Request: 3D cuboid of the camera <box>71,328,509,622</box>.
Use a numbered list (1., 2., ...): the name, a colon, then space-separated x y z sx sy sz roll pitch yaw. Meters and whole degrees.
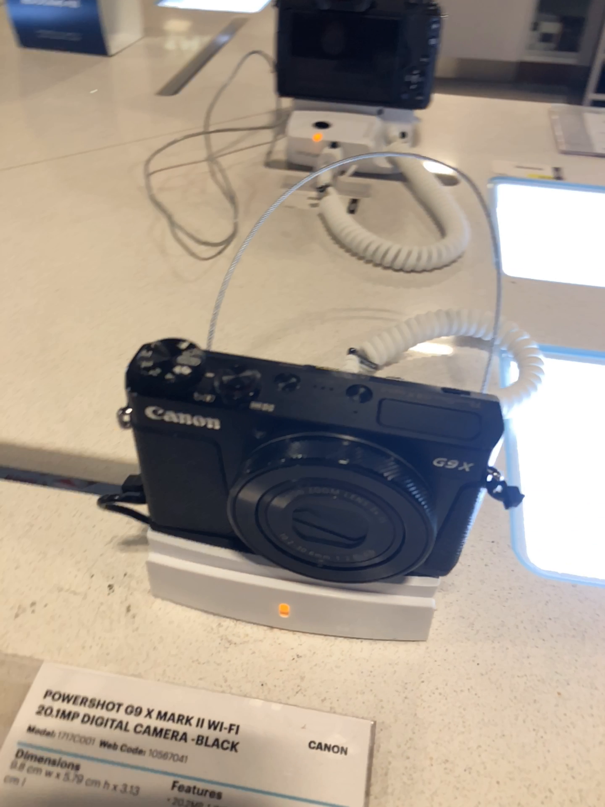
1. camera: -0.003 0.020 0.180 0.100 0.060 0.030 9 43 8
